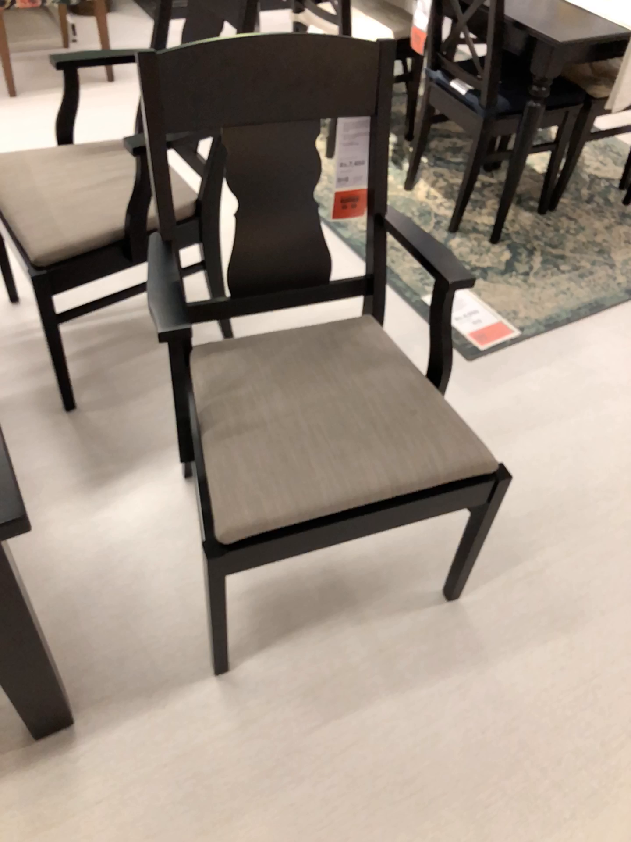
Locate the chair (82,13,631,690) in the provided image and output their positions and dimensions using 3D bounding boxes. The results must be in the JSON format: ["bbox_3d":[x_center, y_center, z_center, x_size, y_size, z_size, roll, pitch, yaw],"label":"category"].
[{"bbox_3d":[-0.003,-0.078,1.264,0.571,0.994,0.573,-13,49,-17],"label":"chair"}]
